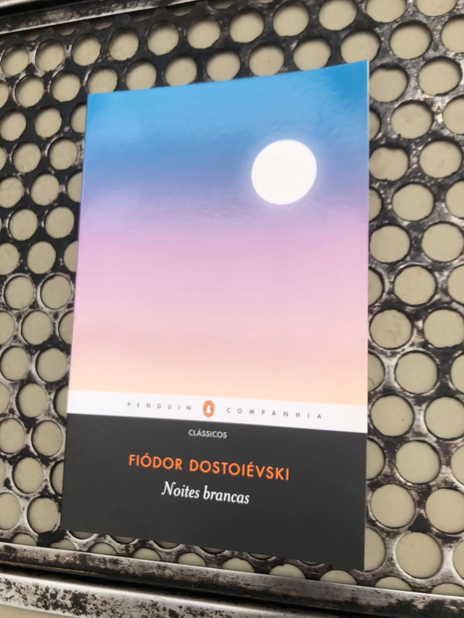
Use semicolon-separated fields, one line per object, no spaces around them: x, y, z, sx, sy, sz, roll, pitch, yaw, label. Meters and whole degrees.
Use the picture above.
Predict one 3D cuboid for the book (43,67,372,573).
-0.011;-0.001;0.218;0.132;0.010;0.191;1;84;15;book
